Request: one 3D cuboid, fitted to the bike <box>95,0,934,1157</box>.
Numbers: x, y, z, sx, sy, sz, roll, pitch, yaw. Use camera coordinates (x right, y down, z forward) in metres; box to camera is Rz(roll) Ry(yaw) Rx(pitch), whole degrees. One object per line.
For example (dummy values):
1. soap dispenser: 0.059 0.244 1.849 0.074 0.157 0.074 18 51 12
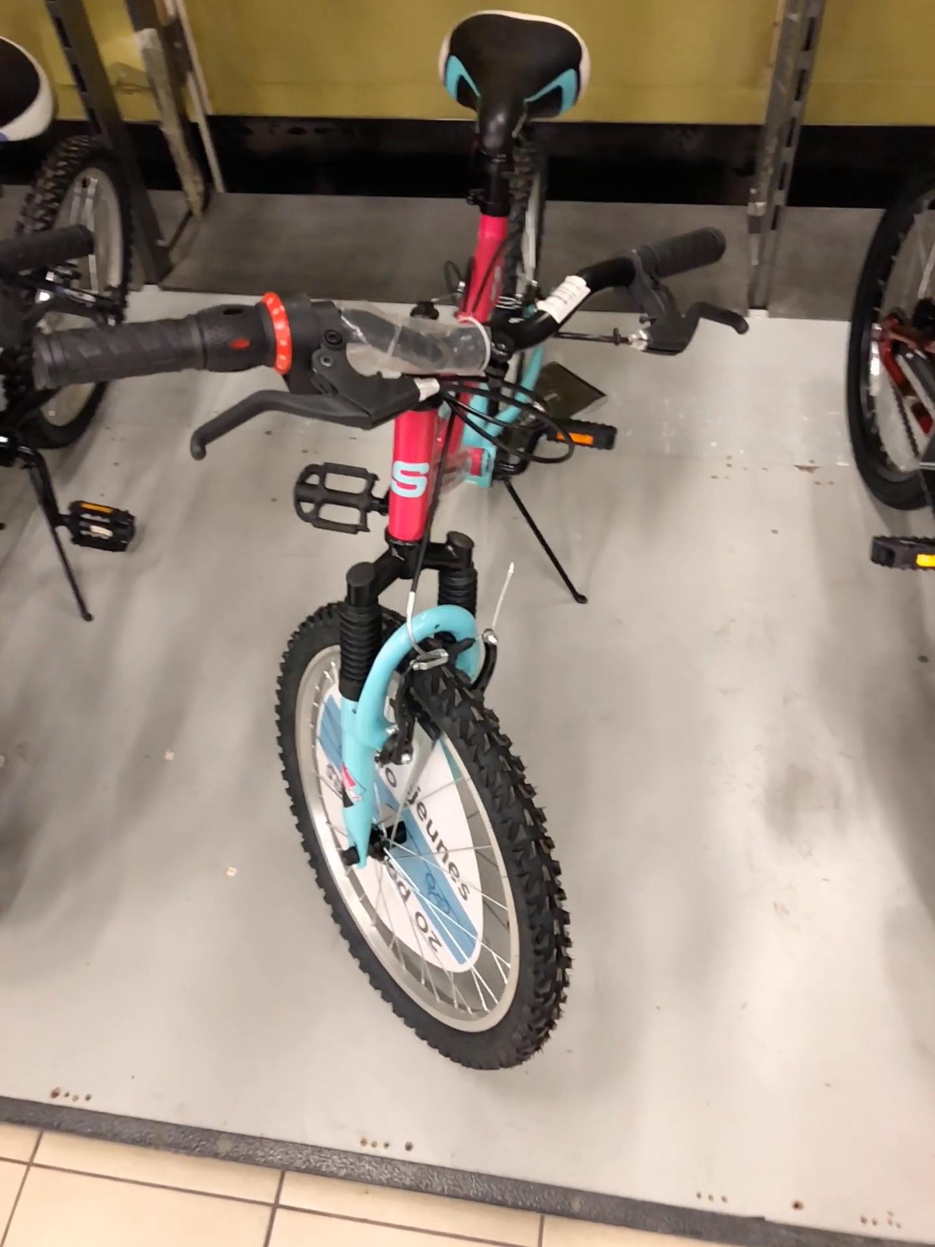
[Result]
1. bike: 0.121 -0.201 1.136 0.562 0.764 1.219 0 56 5
